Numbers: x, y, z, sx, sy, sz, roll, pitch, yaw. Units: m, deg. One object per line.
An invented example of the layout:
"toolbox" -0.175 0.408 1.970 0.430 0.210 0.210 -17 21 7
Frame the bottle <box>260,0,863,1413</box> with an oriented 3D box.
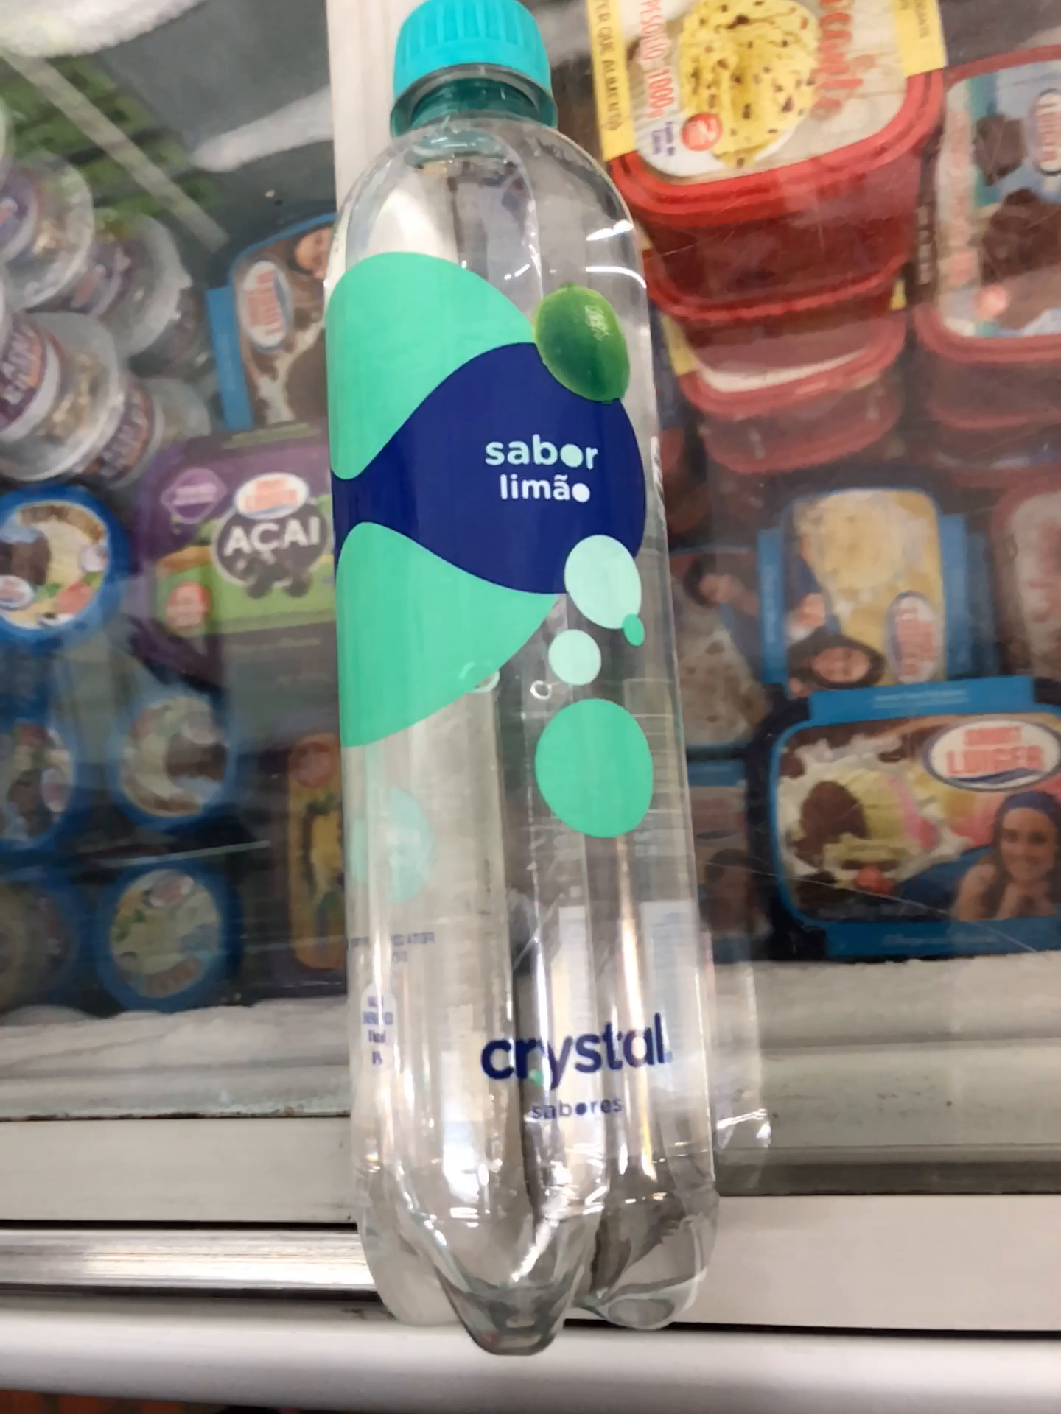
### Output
"bottle" -0.004 -0.007 0.211 0.070 0.070 0.240 -3 83 -16
